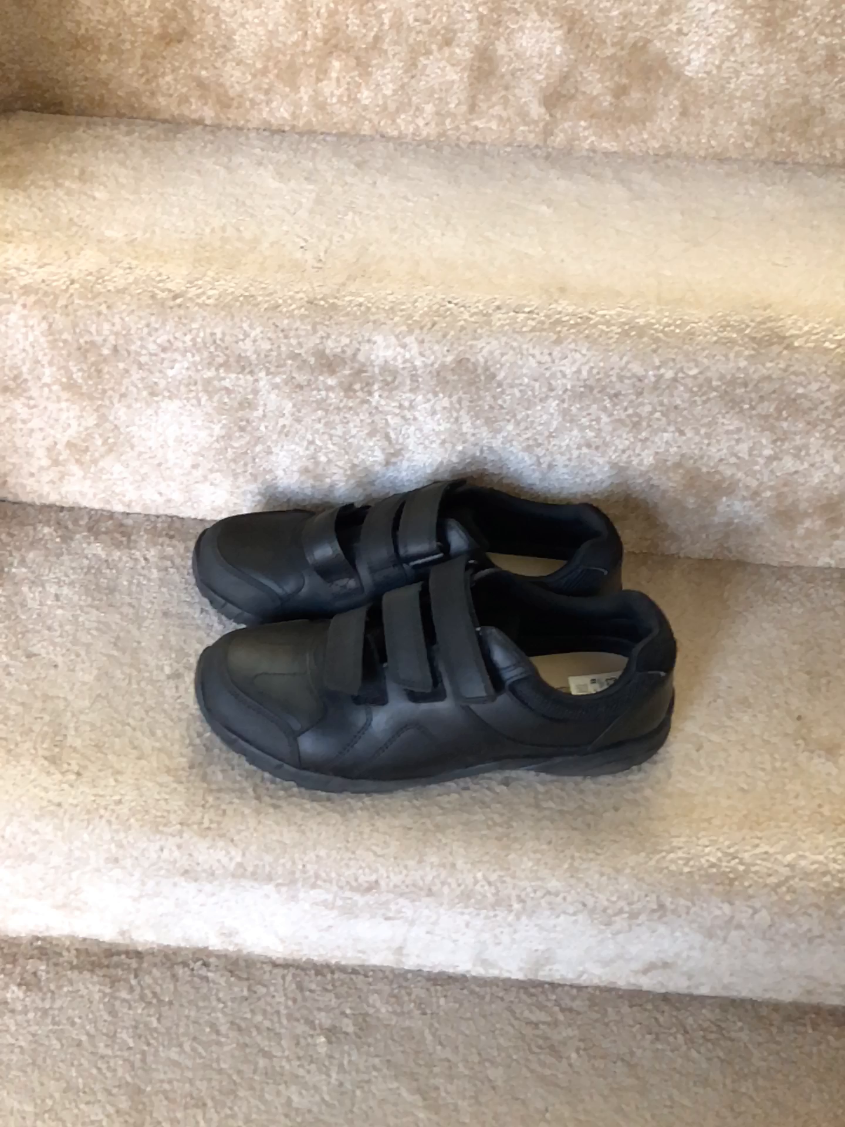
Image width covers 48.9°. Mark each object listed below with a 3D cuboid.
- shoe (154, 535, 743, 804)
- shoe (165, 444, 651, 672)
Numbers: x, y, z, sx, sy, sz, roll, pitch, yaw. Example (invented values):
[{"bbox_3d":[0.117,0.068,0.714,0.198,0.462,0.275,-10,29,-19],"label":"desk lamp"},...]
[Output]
[{"bbox_3d":[0.011,0.057,0.496,0.270,0.099,0.101,0,44,-2],"label":"shoe"},{"bbox_3d":[-0.009,-0.003,0.586,0.270,0.099,0.101,0,44,-2],"label":"shoe"}]
